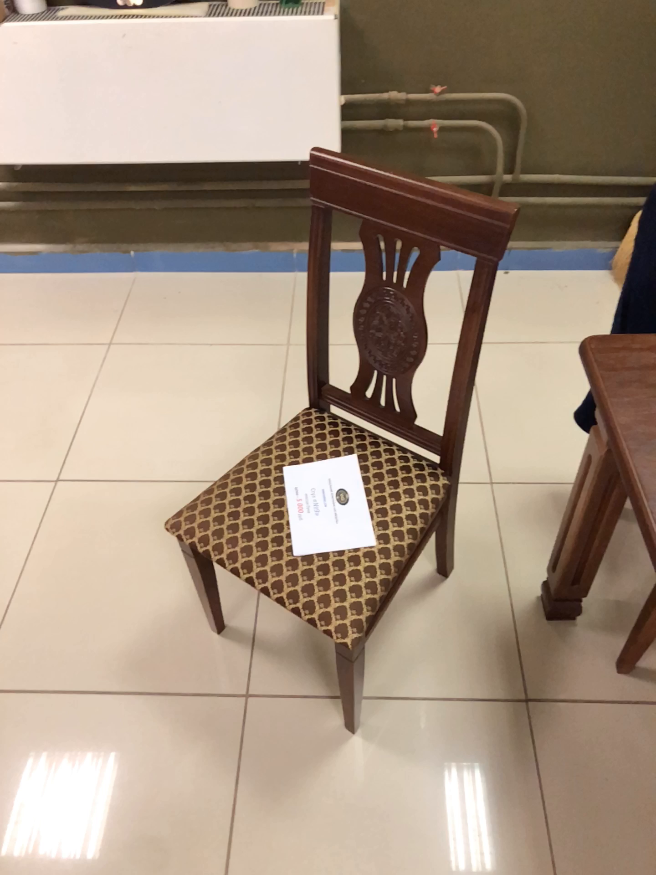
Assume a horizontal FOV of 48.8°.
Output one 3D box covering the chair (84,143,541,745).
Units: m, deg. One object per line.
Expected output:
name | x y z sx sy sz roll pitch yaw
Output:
chair | 0.004 0.057 1.333 0.436 0.936 0.471 27 53 26

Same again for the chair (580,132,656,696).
chair | 0.829 0.015 1.345 0.430 0.955 0.492 2 46 5
